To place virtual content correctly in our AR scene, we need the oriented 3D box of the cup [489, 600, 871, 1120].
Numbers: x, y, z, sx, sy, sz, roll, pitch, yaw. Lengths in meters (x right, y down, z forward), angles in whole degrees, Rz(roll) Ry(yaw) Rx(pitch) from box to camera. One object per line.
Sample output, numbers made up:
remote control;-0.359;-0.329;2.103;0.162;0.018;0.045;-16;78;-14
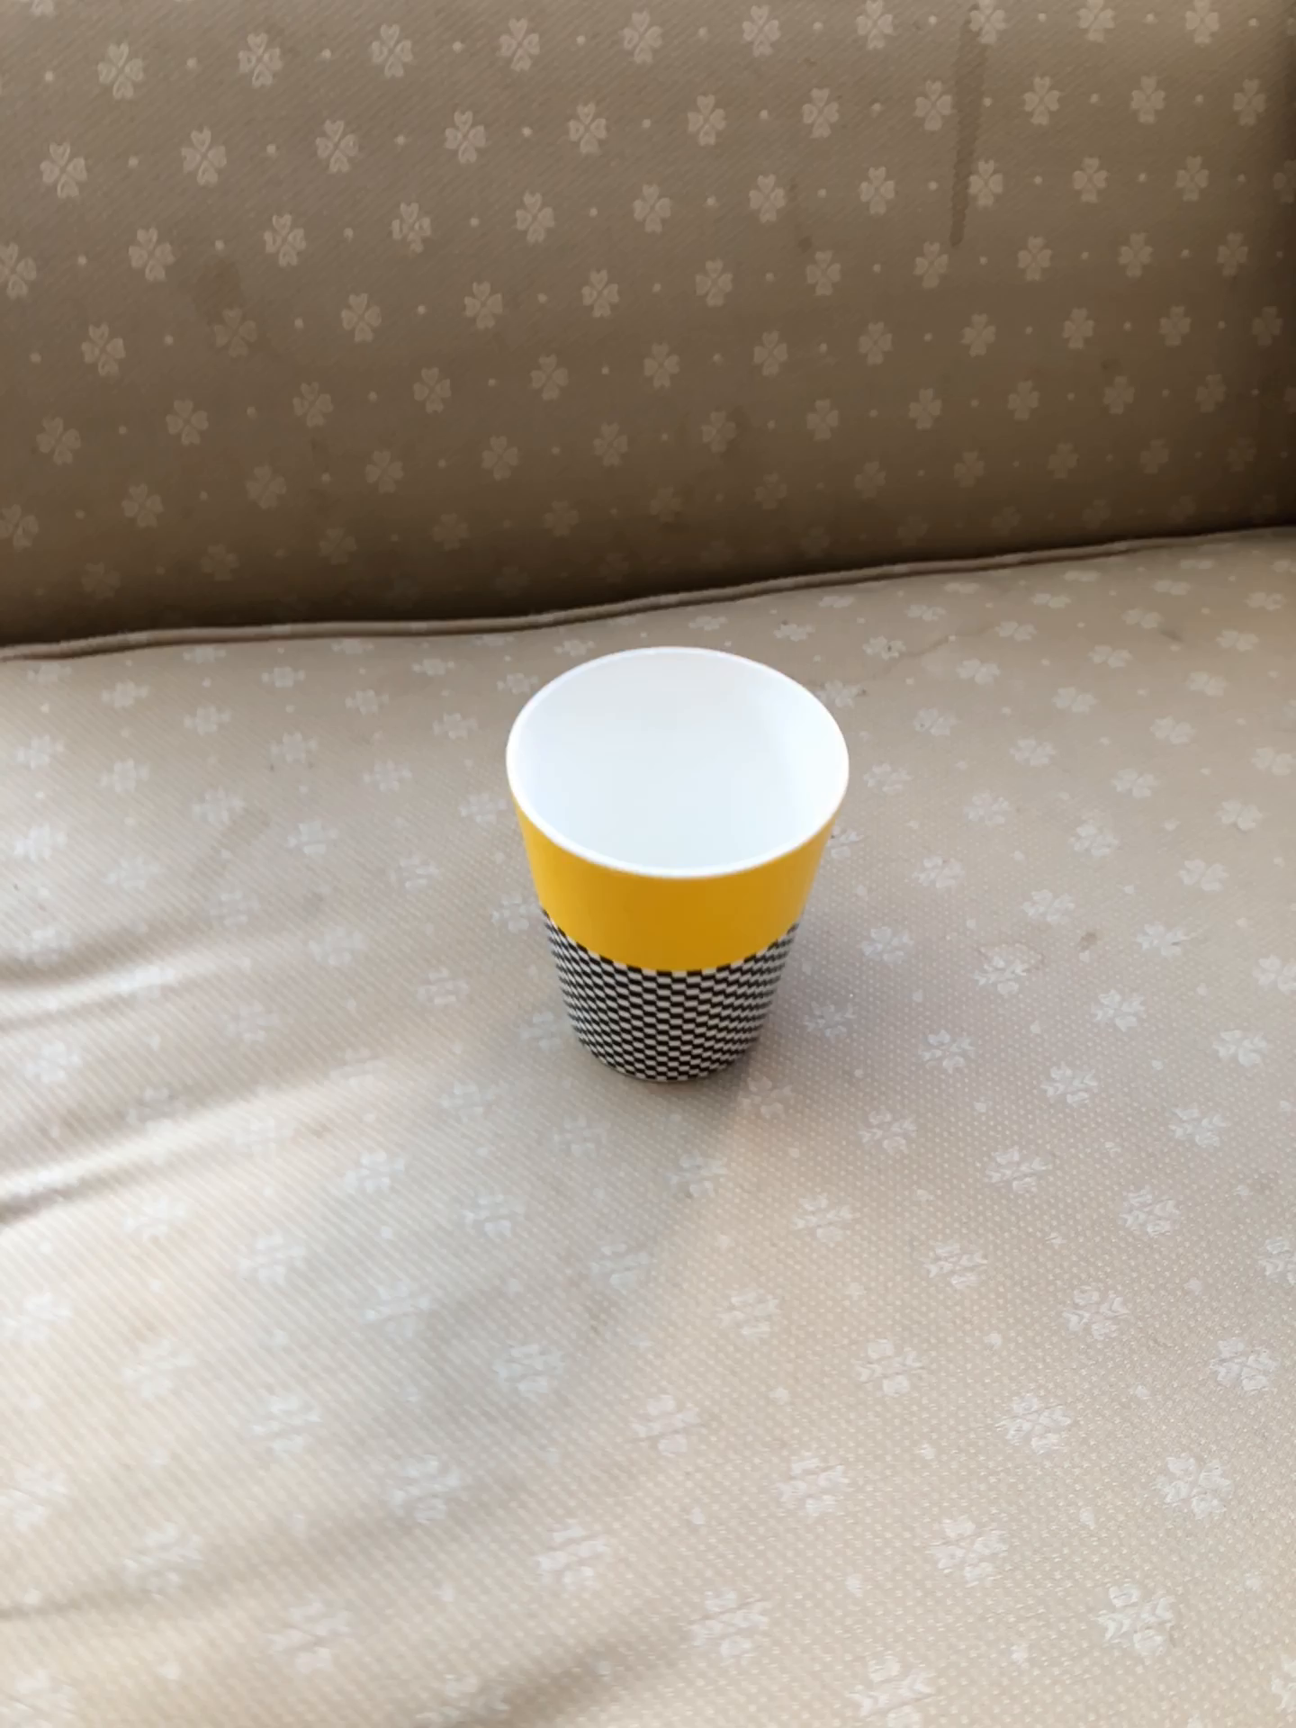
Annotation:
cup;0.005;-0.003;0.400;0.087;0.090;0.112;-1;46;-2
